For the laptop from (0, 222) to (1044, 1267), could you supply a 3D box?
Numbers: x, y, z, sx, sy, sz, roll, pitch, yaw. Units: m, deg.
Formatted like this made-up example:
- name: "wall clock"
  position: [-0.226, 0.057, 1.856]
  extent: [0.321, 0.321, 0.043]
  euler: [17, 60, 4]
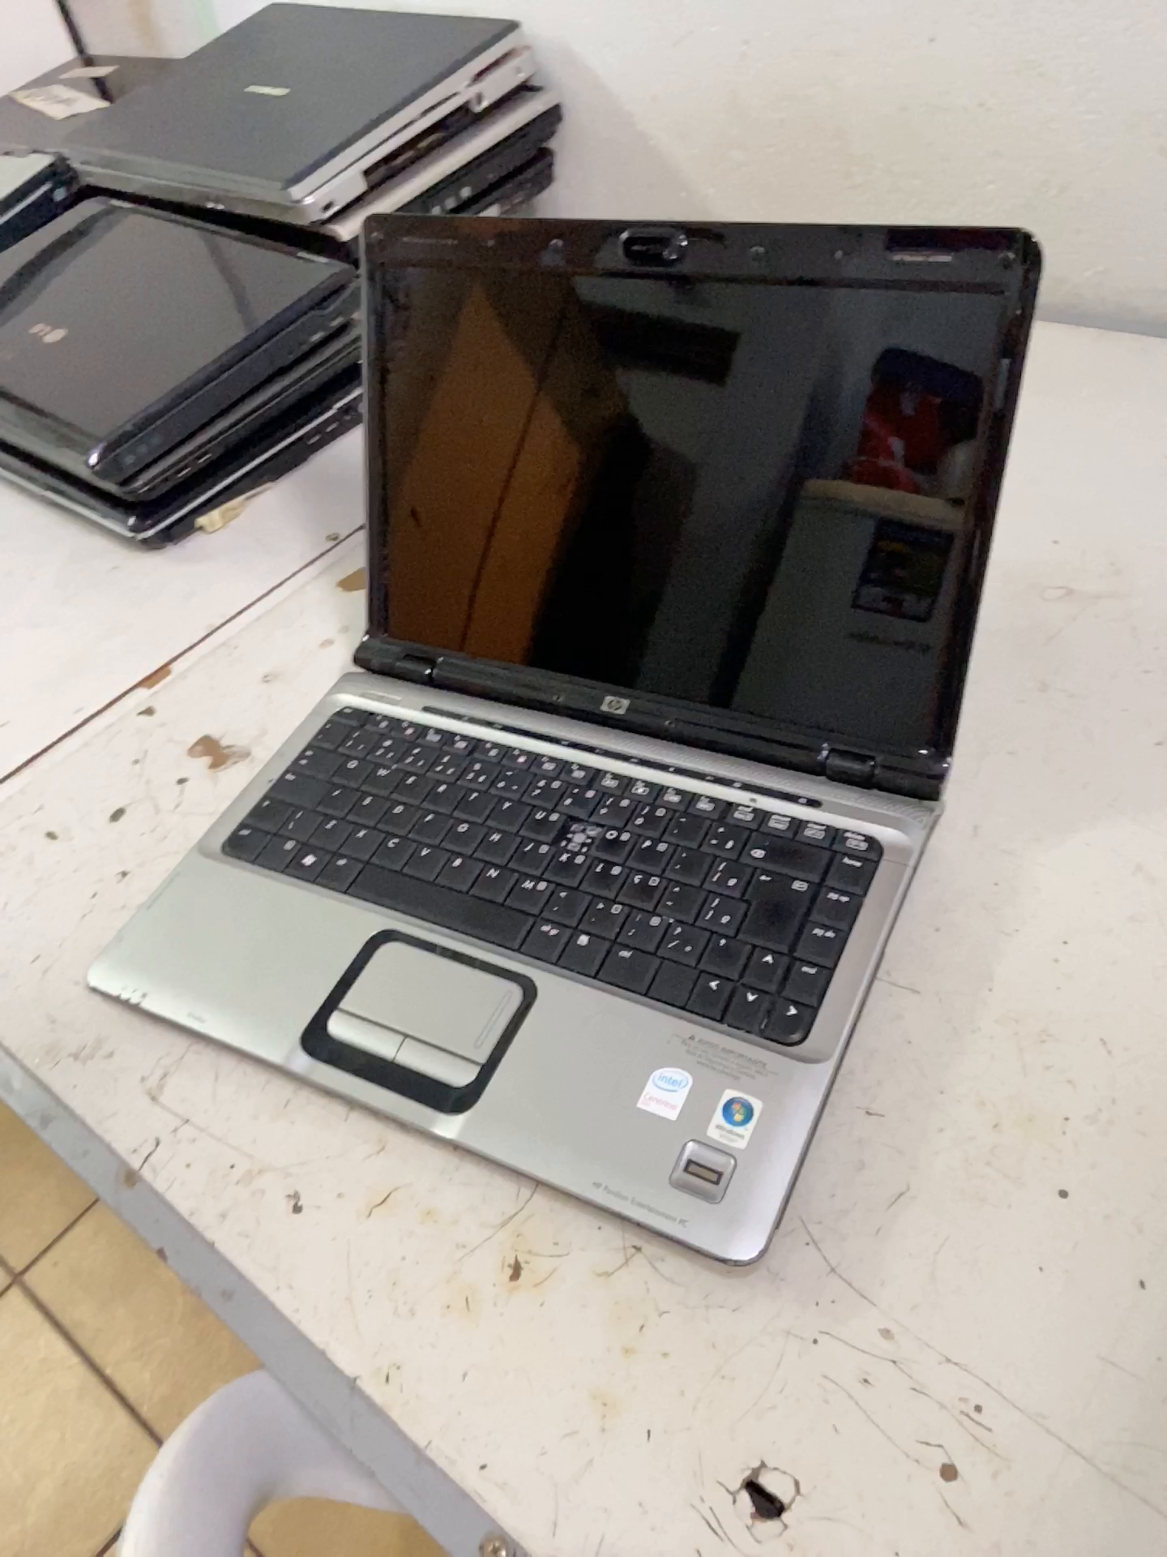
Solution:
- name: "laptop"
  position: [-0.023, -0.056, 0.500]
  extent: [0.321, 0.193, 0.335]
  euler: [14, 52, 26]
